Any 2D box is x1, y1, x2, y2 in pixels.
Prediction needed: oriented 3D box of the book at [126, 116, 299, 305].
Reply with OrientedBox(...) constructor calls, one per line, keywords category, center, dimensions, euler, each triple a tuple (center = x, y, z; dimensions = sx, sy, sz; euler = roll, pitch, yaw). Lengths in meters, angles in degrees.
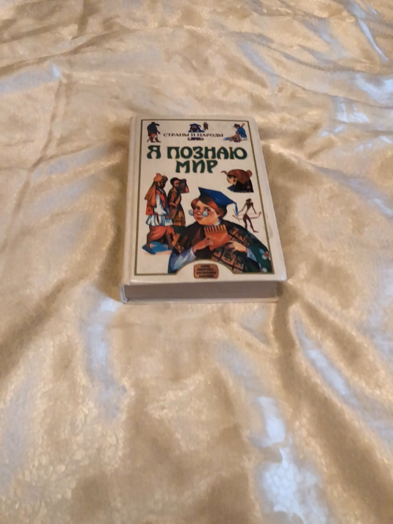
OrientedBox(category="book", center=(0.008, -0.056, 0.403), dimensions=(0.134, 0.037, 0.198), euler=(0, 55, -4))
